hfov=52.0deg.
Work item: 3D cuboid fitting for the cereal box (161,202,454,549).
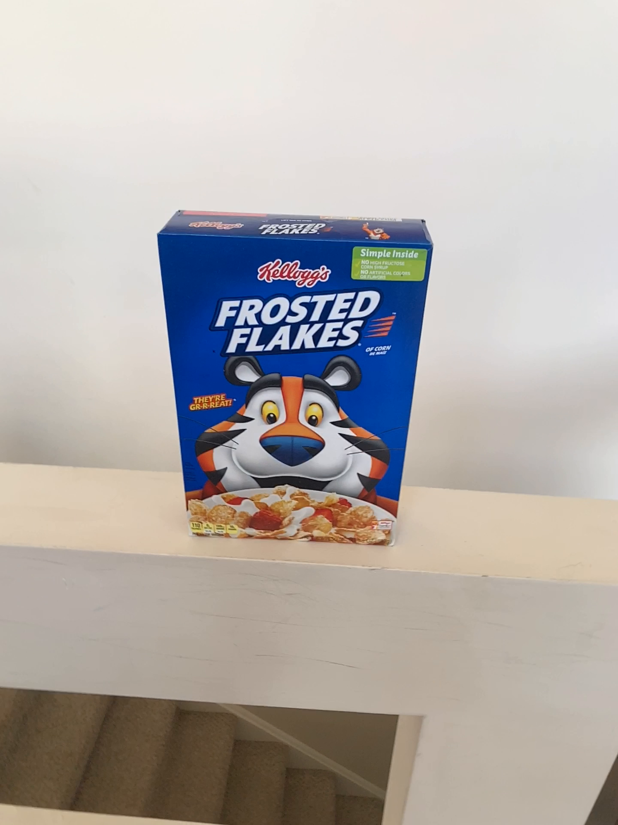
[{"bbox_3d":[-0.004,-0.018,0.534,0.200,0.288,0.060,3,33,2],"label":"cereal box"}]
